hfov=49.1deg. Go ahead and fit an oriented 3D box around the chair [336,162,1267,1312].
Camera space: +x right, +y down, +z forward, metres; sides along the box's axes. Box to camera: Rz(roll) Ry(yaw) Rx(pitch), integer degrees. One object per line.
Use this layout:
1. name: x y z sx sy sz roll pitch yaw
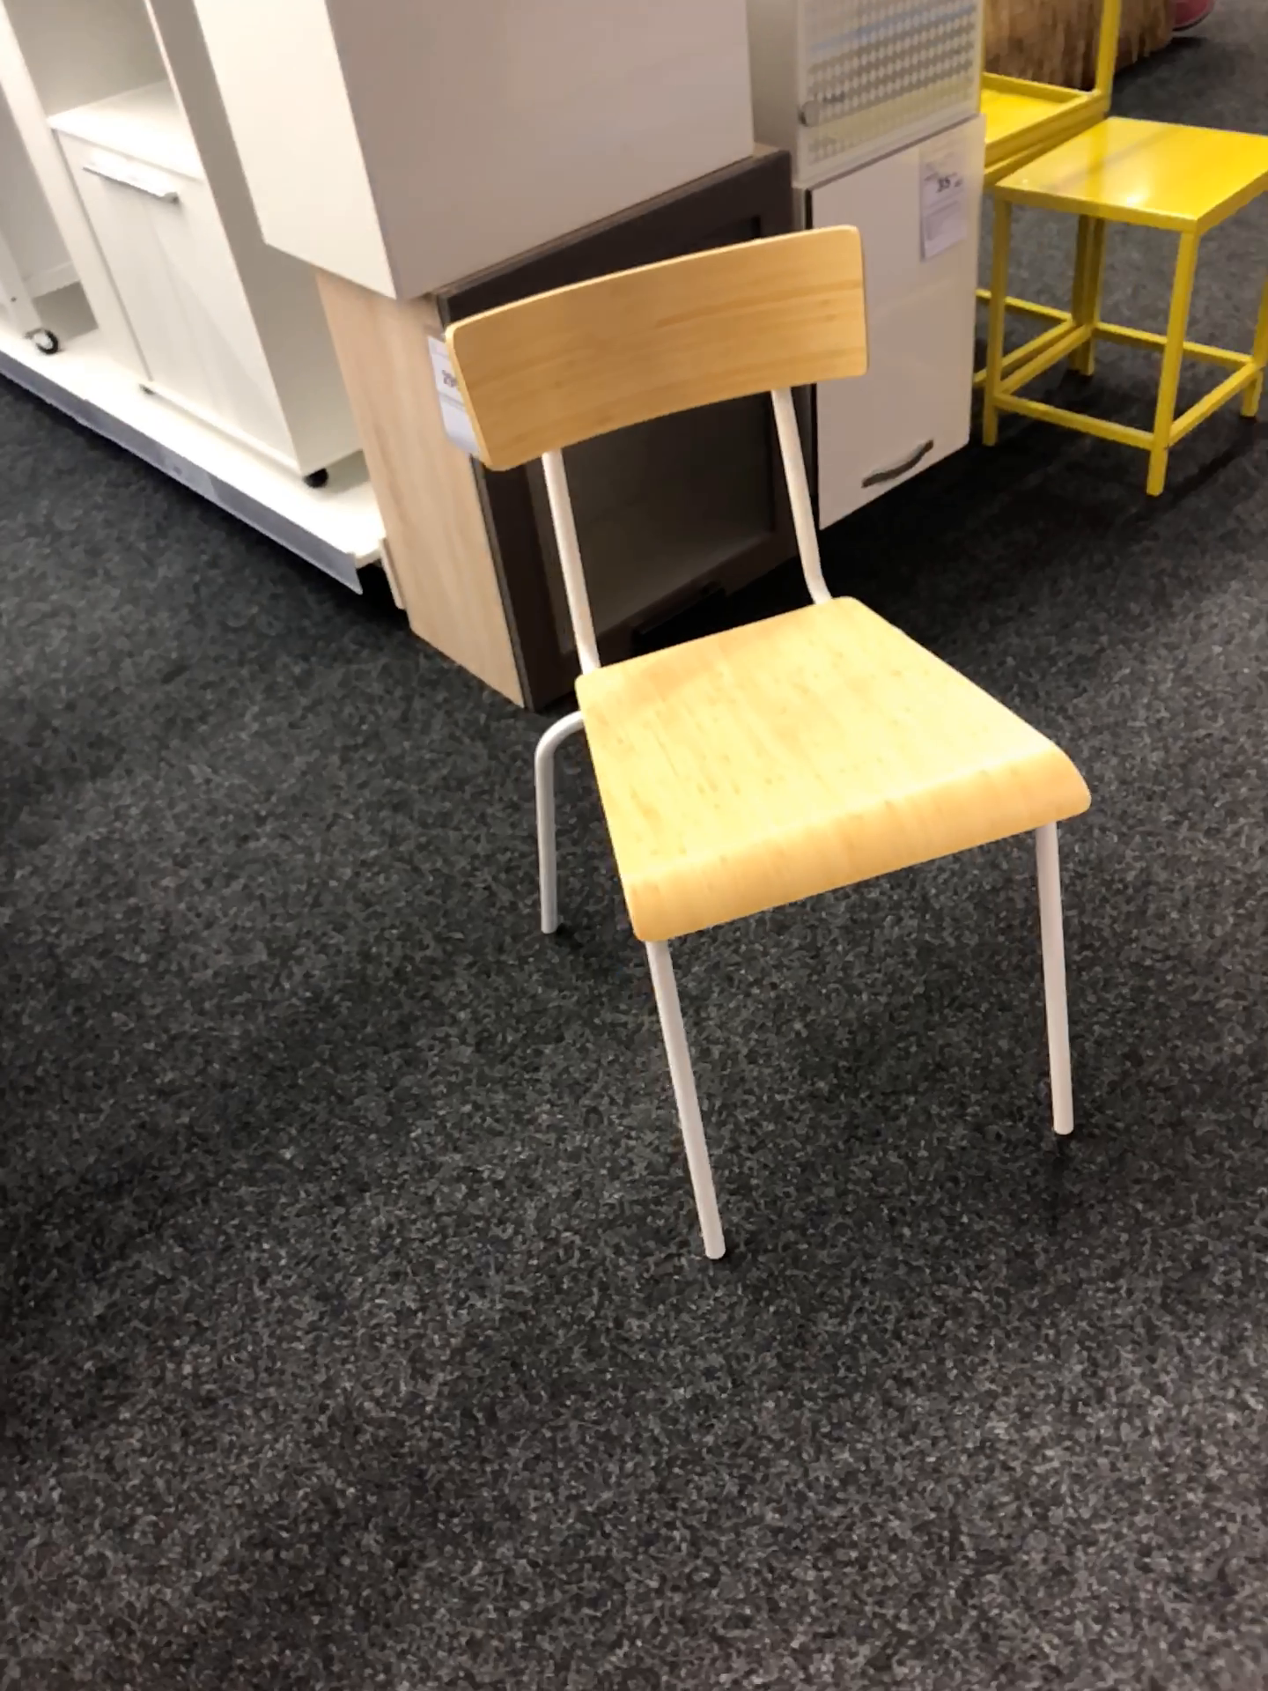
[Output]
1. chair: 0.132 -0.098 1.353 0.541 0.816 0.582 -18 43 -9
